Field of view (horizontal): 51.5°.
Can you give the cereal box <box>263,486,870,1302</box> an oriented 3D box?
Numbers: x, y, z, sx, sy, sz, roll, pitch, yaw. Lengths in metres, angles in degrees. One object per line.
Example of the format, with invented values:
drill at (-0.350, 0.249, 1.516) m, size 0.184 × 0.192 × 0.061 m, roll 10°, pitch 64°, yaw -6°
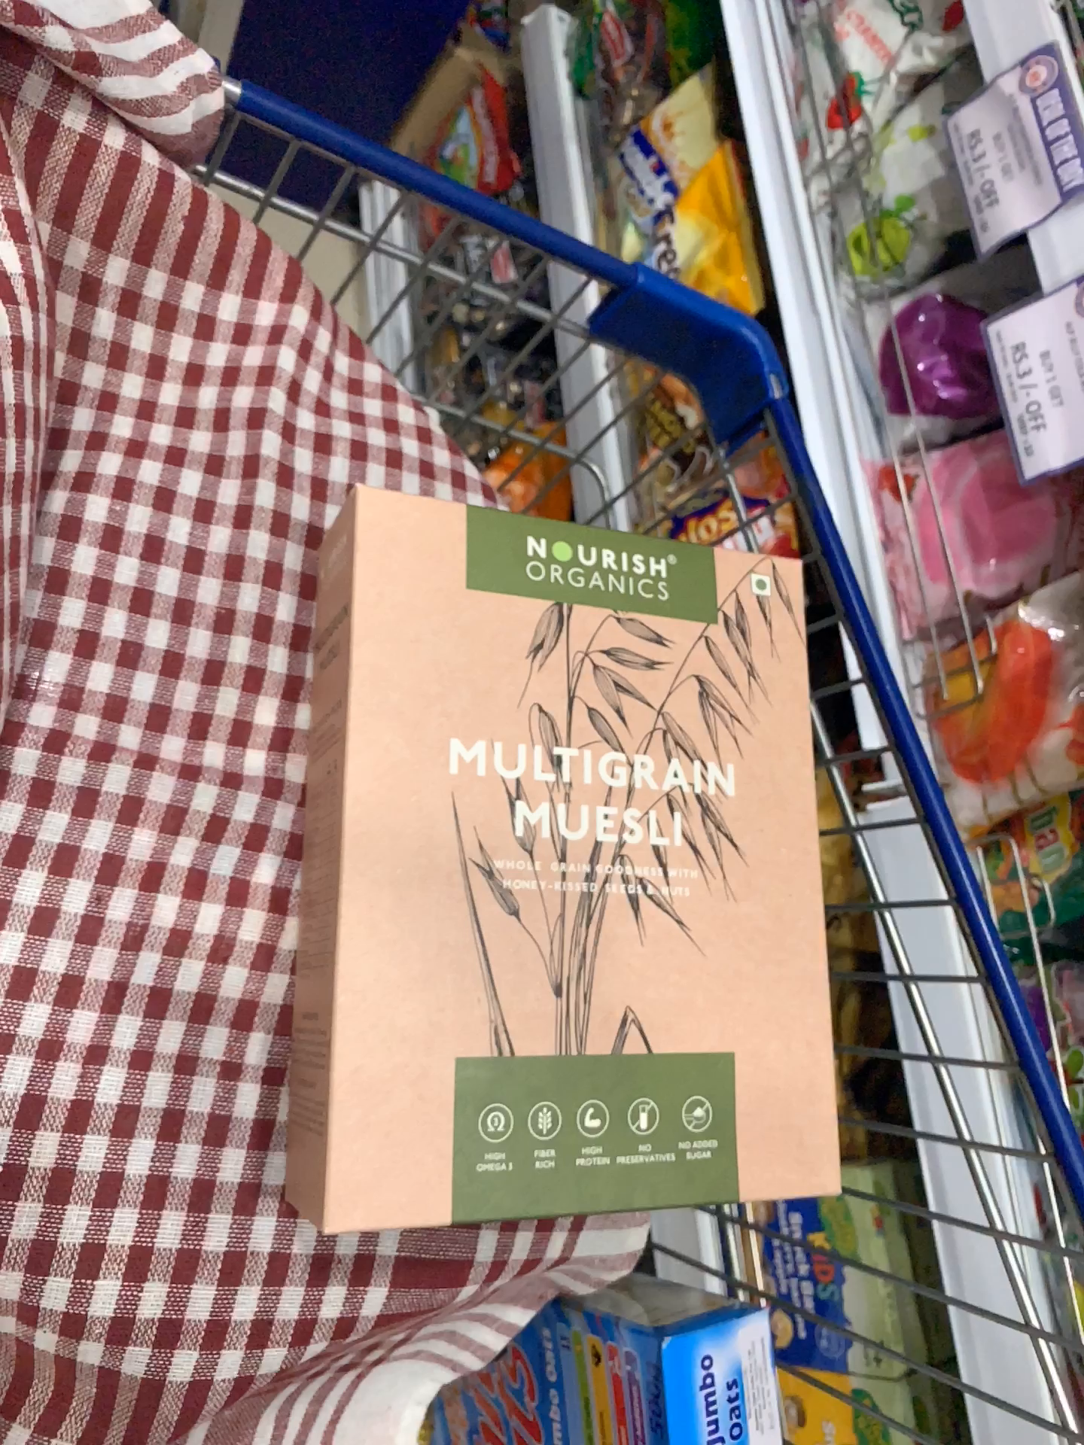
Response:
cereal box at (0.009, 0.047, 0.331) m, size 0.160 × 0.050 × 0.200 m, roll 6°, pitch 75°, yaw -23°
